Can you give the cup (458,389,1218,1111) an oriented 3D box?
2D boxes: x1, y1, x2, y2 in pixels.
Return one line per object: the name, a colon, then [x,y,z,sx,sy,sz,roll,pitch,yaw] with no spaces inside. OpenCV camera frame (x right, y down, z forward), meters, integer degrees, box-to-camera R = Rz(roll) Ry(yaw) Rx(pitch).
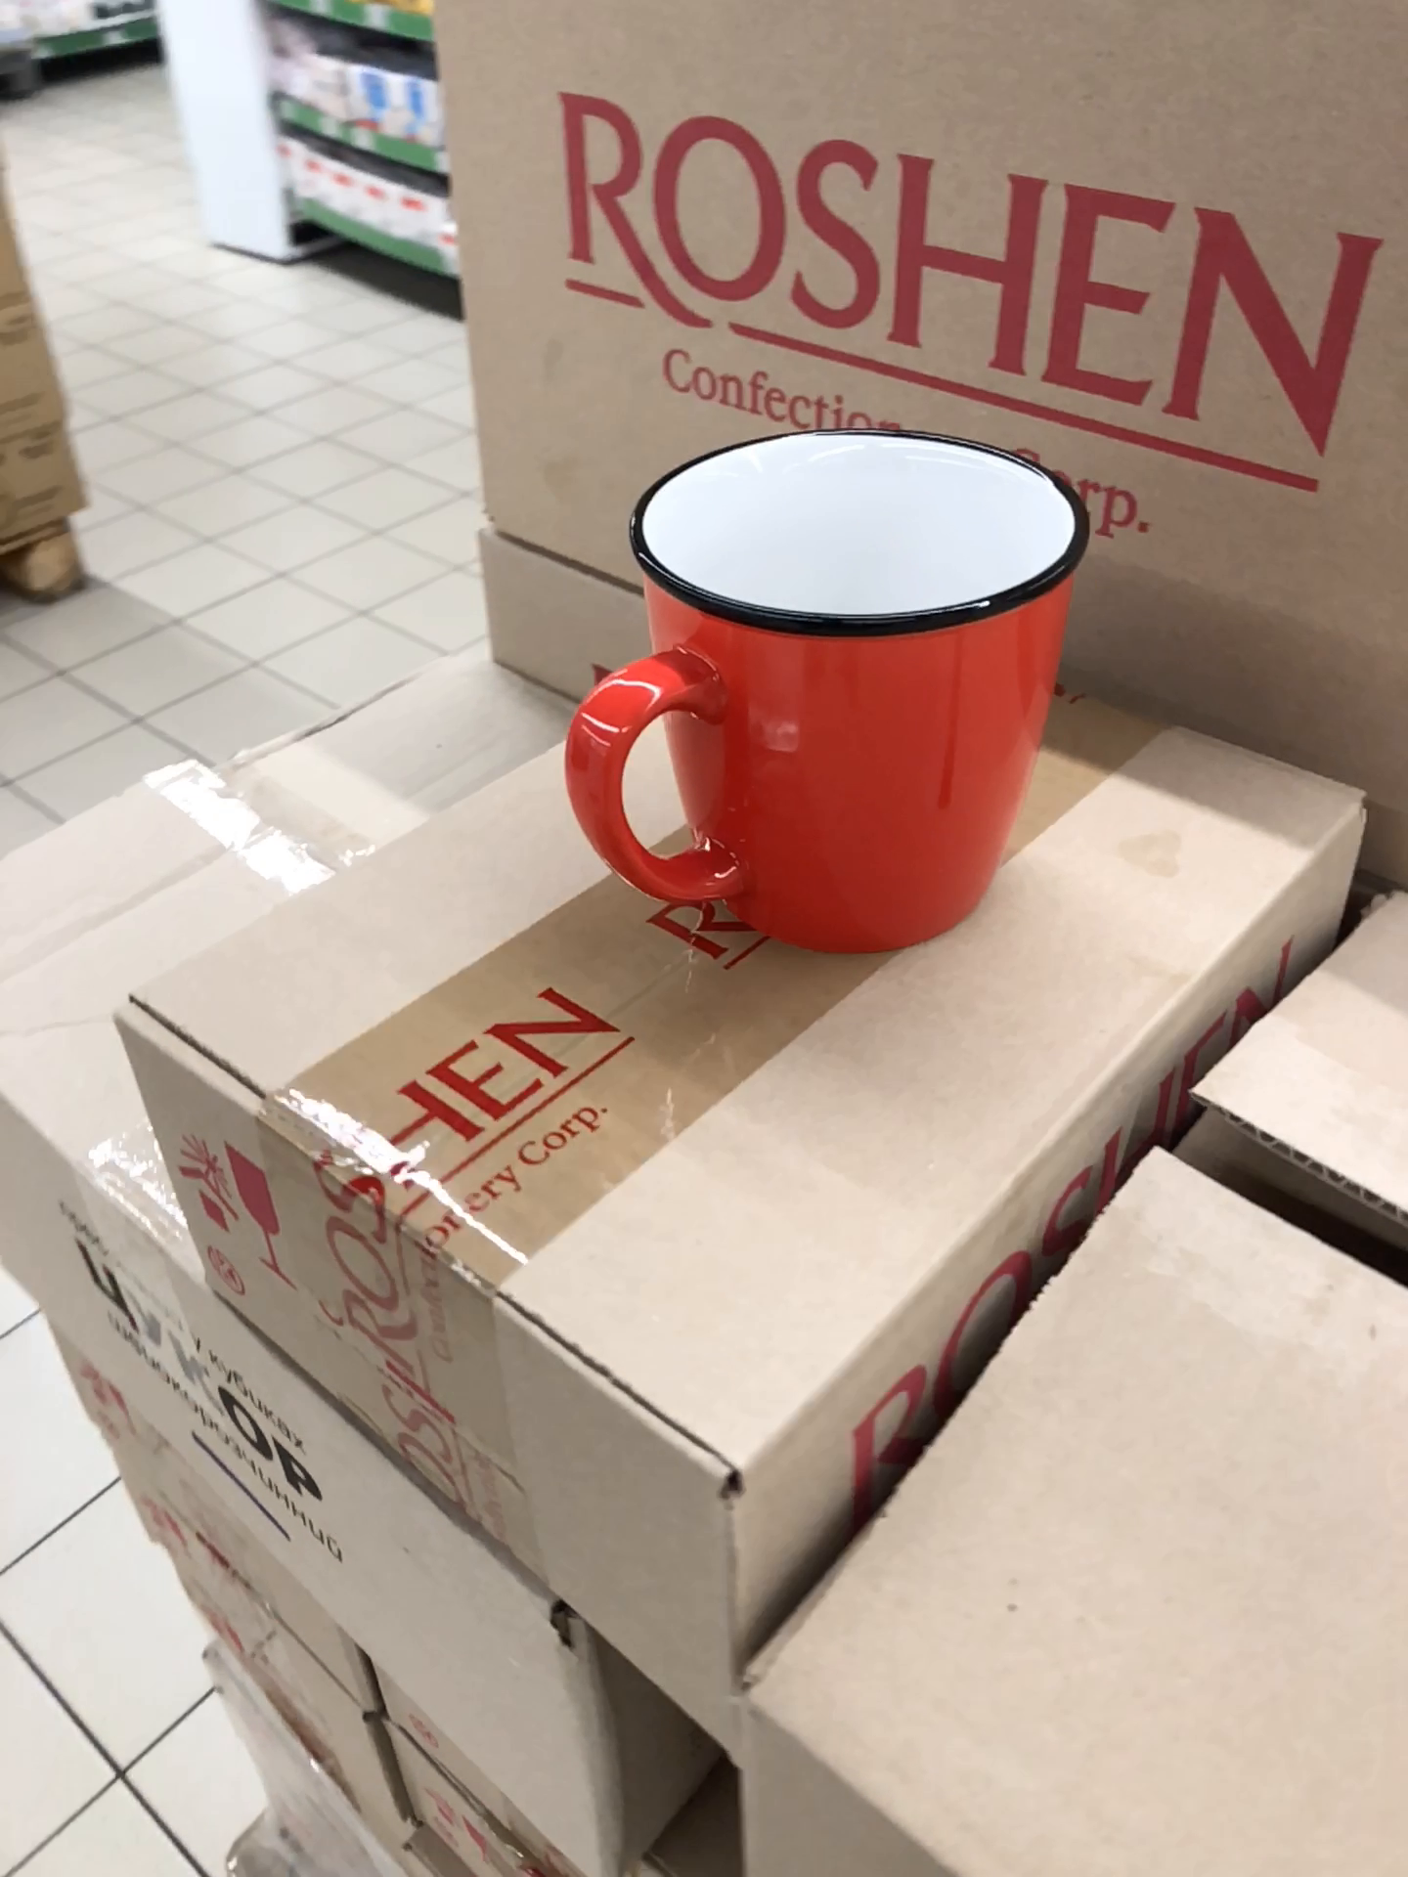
cup: [0.030,-0.050,0.349,0.127,0.089,0.096,-32,48,-31]
